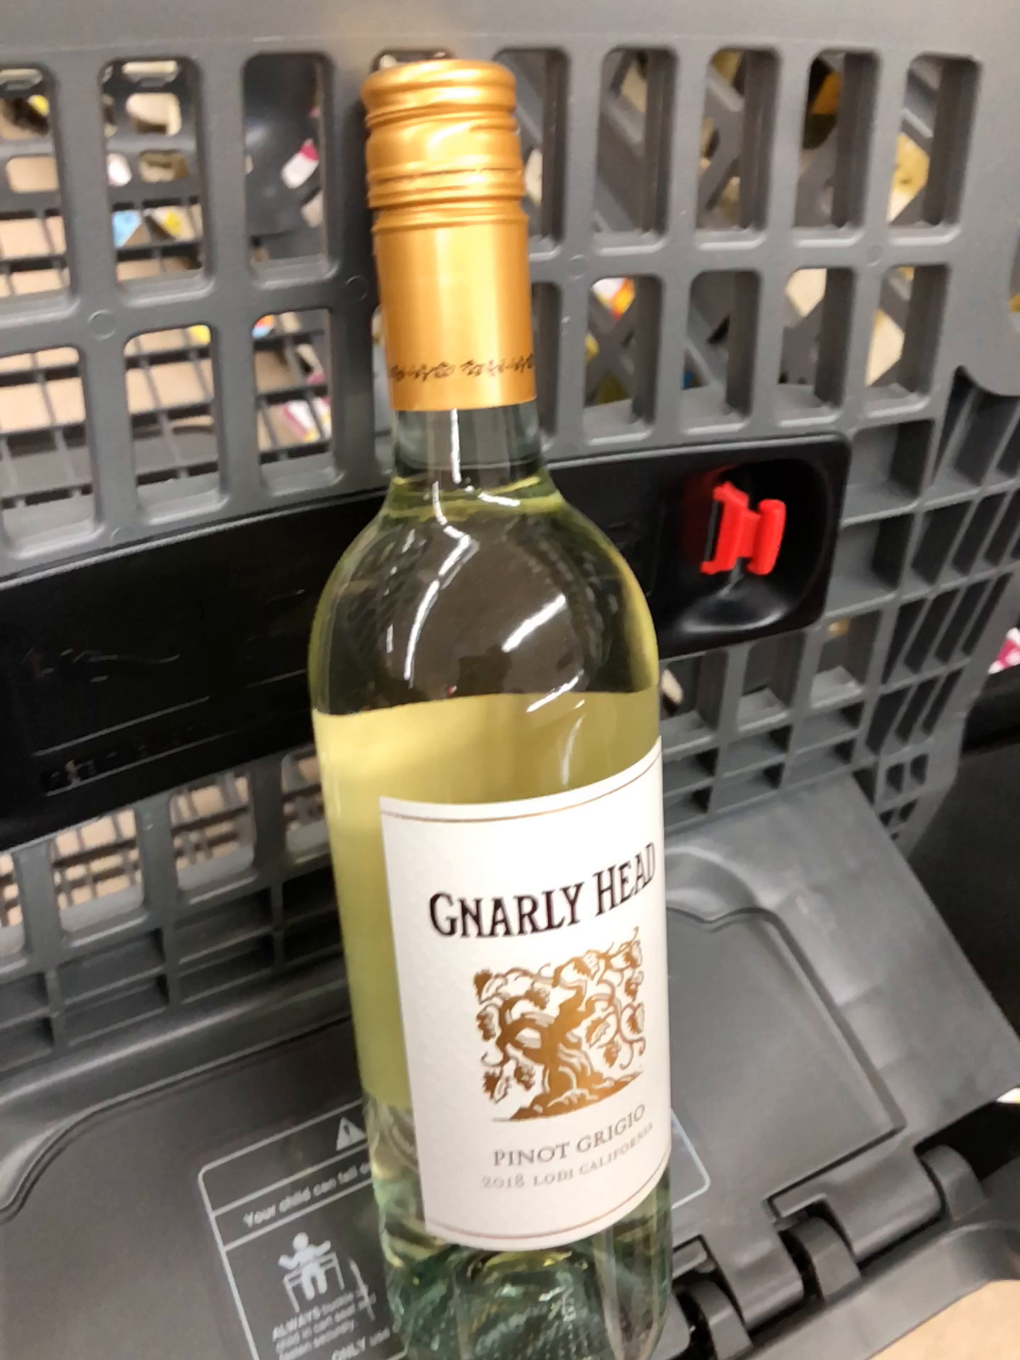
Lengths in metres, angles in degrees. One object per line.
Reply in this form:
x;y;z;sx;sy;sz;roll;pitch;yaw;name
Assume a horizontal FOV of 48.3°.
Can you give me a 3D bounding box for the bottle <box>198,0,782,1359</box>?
0.001;0.023;0.243;0.080;0.070;0.280;-11;106;-21;bottle
